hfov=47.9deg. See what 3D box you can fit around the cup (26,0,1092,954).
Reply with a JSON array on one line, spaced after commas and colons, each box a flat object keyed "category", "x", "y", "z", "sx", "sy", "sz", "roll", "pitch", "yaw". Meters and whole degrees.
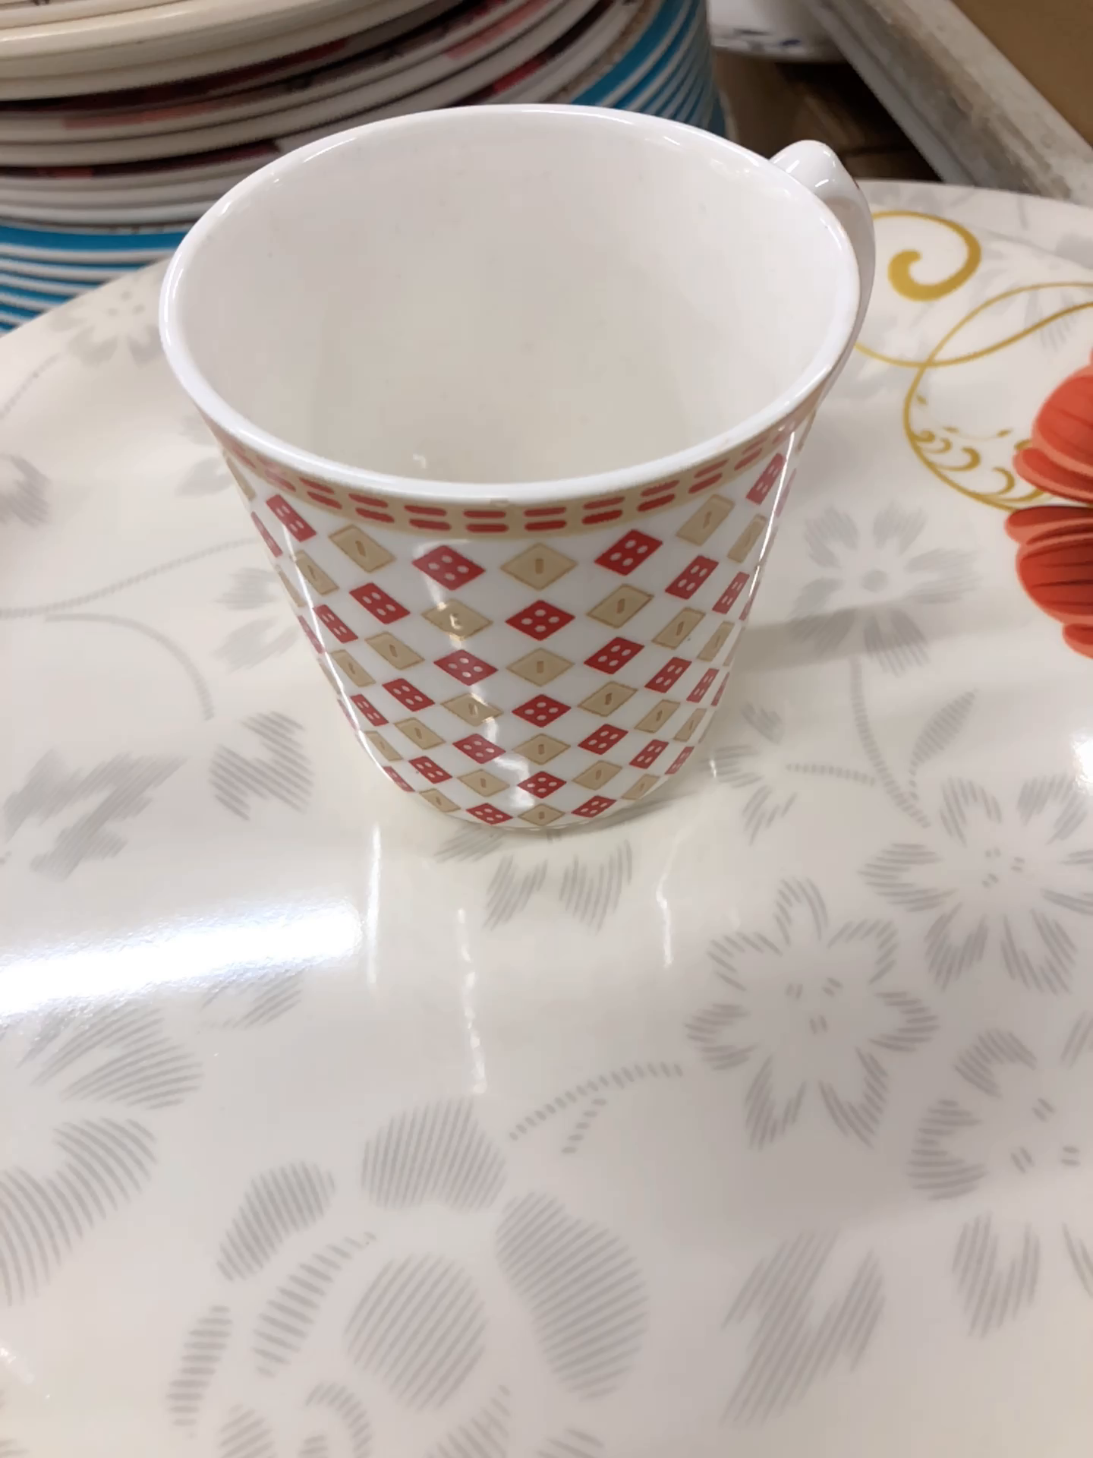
[{"category": "cup", "x": 0.009, "y": -0.045, "z": 0.180, "sx": 0.120, "sy": 0.080, "sz": 0.080, "roll": -26, "pitch": 57, "yaw": -17}]
